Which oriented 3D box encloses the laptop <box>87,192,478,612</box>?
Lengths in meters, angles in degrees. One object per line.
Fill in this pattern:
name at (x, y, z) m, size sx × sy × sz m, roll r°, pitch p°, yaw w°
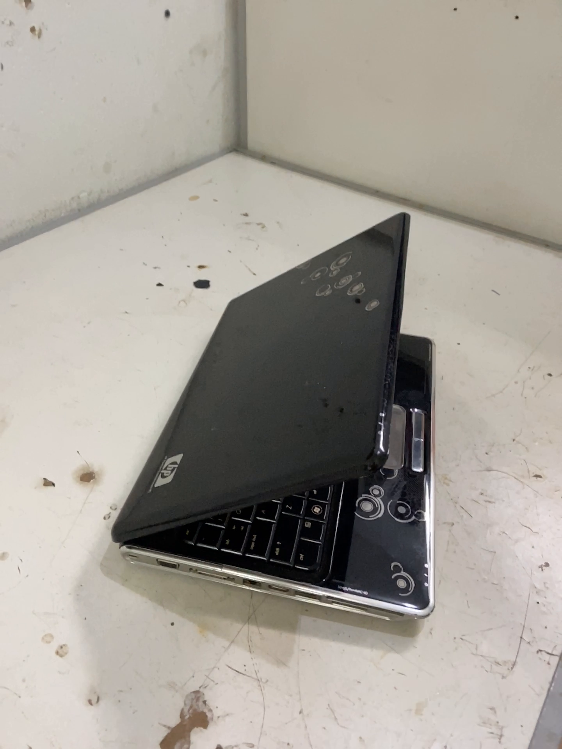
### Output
laptop at (0.029, -0.010, 0.499) m, size 0.231 × 0.137 × 0.329 m, roll 10°, pitch 41°, yaw 7°
